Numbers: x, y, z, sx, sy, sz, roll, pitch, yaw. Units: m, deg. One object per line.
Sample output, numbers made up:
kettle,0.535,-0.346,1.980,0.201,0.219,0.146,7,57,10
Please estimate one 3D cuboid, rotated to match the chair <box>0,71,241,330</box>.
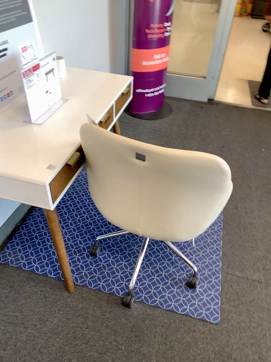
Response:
chair,0.009,0.046,1.221,0.670,0.736,0.693,13,41,12
